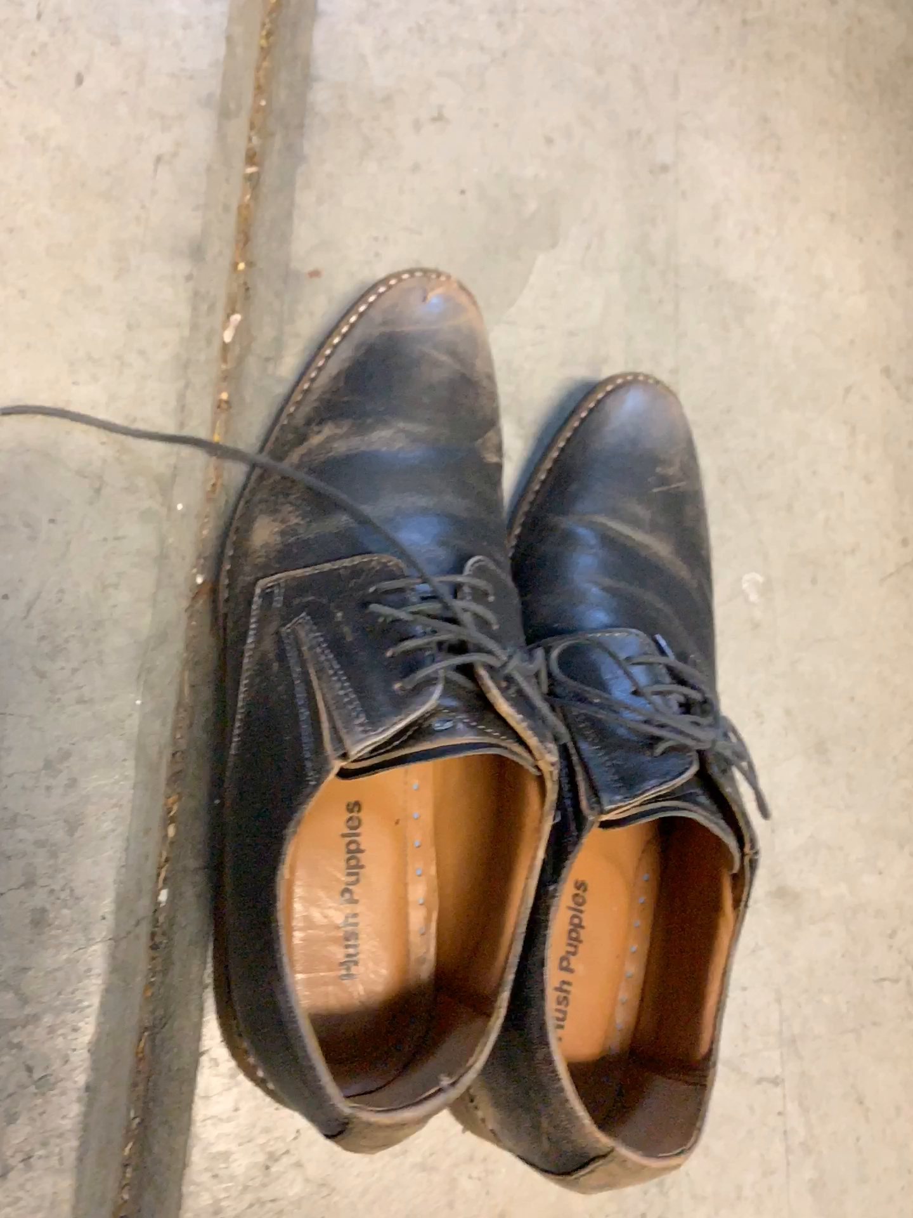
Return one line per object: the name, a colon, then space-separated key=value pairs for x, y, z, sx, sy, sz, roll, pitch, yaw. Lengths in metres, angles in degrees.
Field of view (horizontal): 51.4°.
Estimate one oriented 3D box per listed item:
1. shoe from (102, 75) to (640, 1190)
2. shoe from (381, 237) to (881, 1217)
shoe: x=-0.028 y=0.005 z=0.329 sx=0.110 sy=0.120 sz=0.310 roll=13 pitch=75 yaw=-21
shoe: x=0.068 y=0.039 z=0.363 sx=0.110 sy=0.120 sz=0.304 roll=15 pitch=74 yaw=-21
